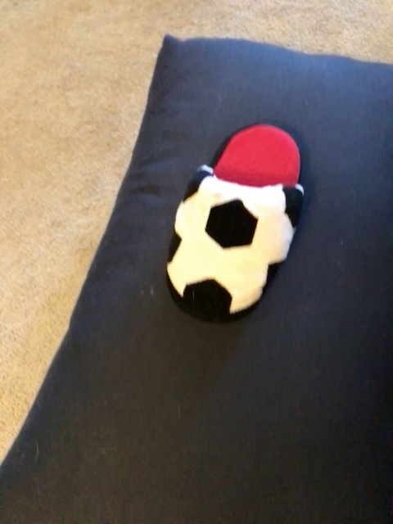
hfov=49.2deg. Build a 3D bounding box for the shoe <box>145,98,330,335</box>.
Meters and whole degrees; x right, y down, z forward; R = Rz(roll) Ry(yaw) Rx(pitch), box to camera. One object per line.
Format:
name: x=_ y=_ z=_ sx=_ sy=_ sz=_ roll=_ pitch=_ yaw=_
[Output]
shoe: x=0.048 y=-0.051 z=0.439 sx=0.108 sy=0.072 sz=0.214 roll=18 pitch=70 yaw=14
